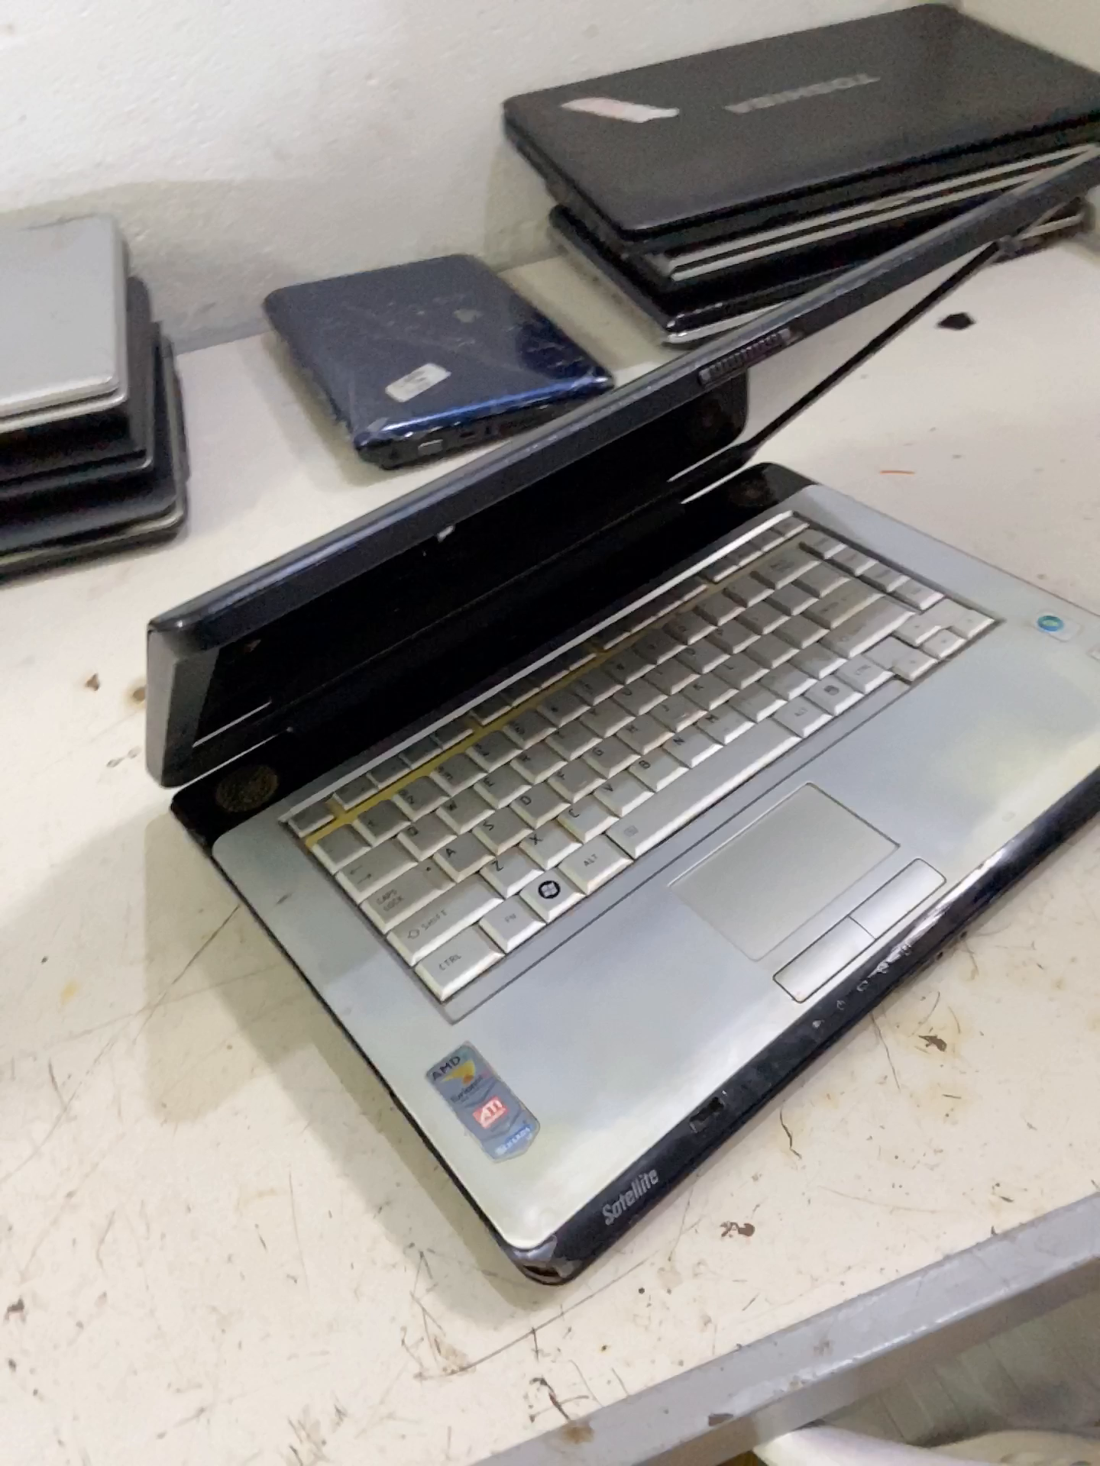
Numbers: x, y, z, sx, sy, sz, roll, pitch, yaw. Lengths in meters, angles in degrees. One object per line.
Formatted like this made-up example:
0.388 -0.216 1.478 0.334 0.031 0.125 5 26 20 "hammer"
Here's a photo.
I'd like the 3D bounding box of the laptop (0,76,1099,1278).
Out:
0.046 -0.063 0.410 0.356 0.185 0.257 -33 49 -22 "laptop"
